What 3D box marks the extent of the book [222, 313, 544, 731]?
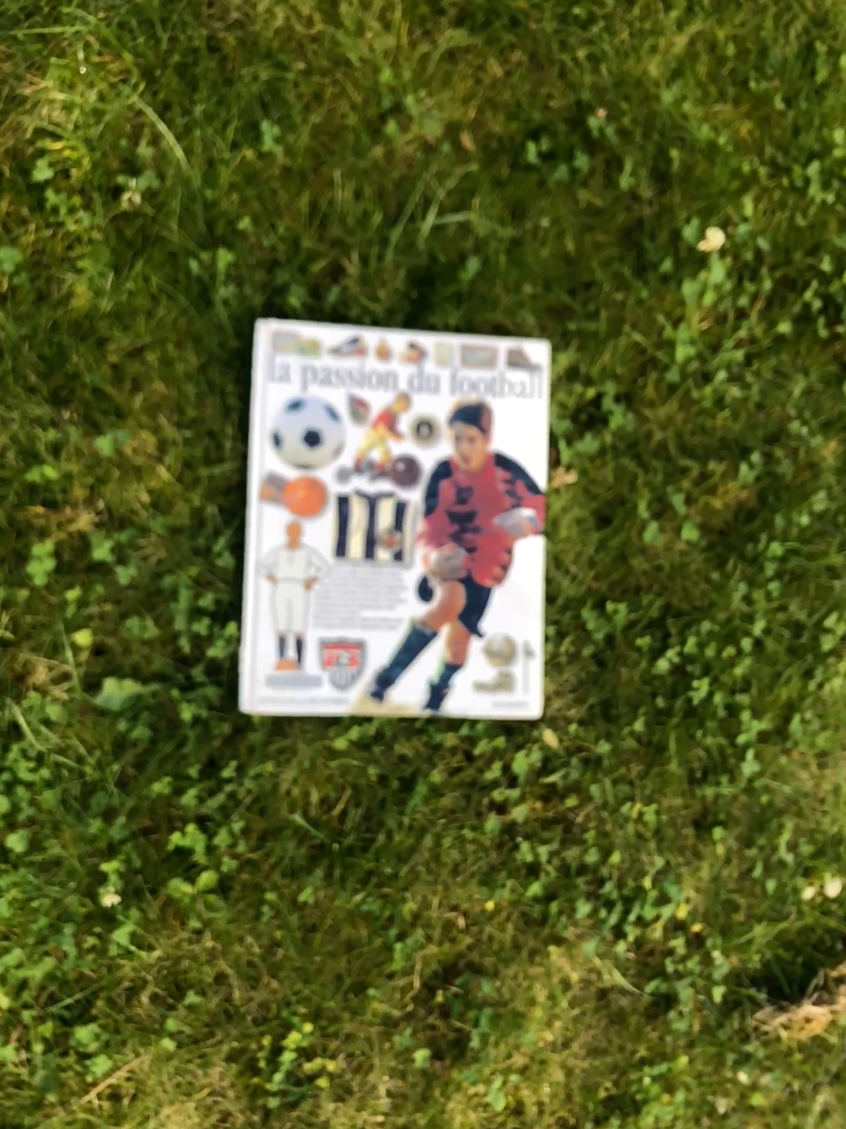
[{"bbox_3d":[-0.026,-0.029,0.706,0.230,0.020,0.300,2,86,-8],"label":"book"}]
